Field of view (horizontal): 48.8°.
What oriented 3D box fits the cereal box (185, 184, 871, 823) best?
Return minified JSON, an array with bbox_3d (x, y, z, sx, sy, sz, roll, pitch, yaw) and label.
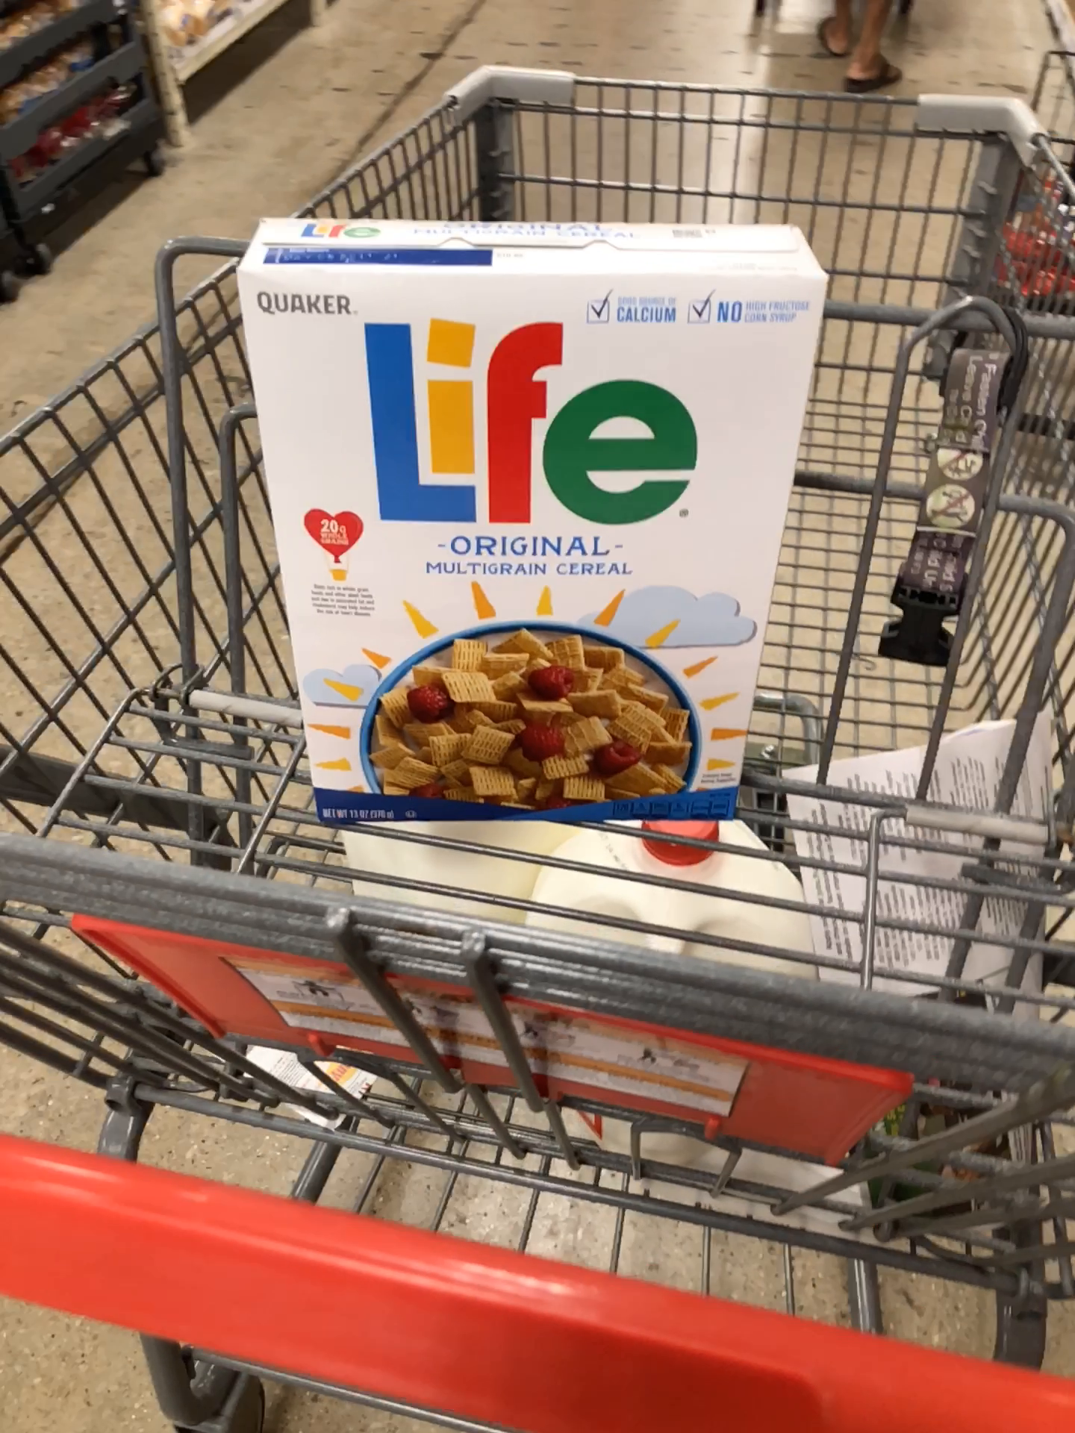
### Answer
[{"bbox_3d":[-0.004,-0.064,0.442,0.200,0.239,0.050,1,40,0],"label":"cereal box"}]
